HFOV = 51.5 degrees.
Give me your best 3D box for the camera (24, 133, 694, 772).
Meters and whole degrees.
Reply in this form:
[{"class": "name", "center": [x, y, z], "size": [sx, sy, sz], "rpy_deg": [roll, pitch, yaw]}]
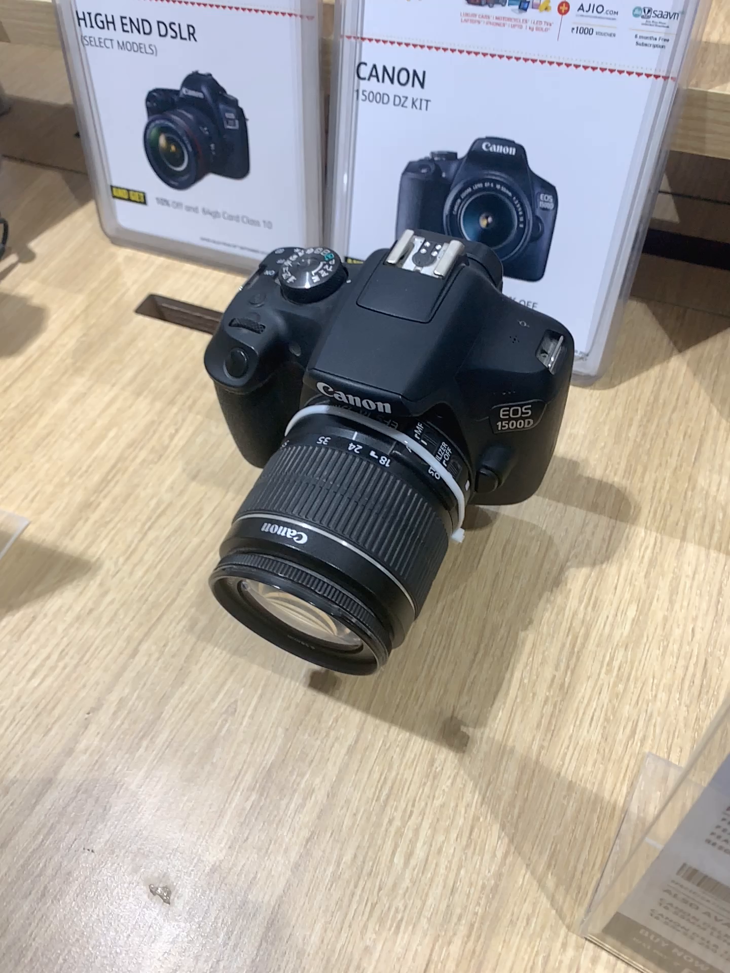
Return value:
[{"class": "camera", "center": [0.012, -0.021, 0.257], "size": [0.140, 0.100, 0.160], "rpy_deg": [17, 57, 17]}]
